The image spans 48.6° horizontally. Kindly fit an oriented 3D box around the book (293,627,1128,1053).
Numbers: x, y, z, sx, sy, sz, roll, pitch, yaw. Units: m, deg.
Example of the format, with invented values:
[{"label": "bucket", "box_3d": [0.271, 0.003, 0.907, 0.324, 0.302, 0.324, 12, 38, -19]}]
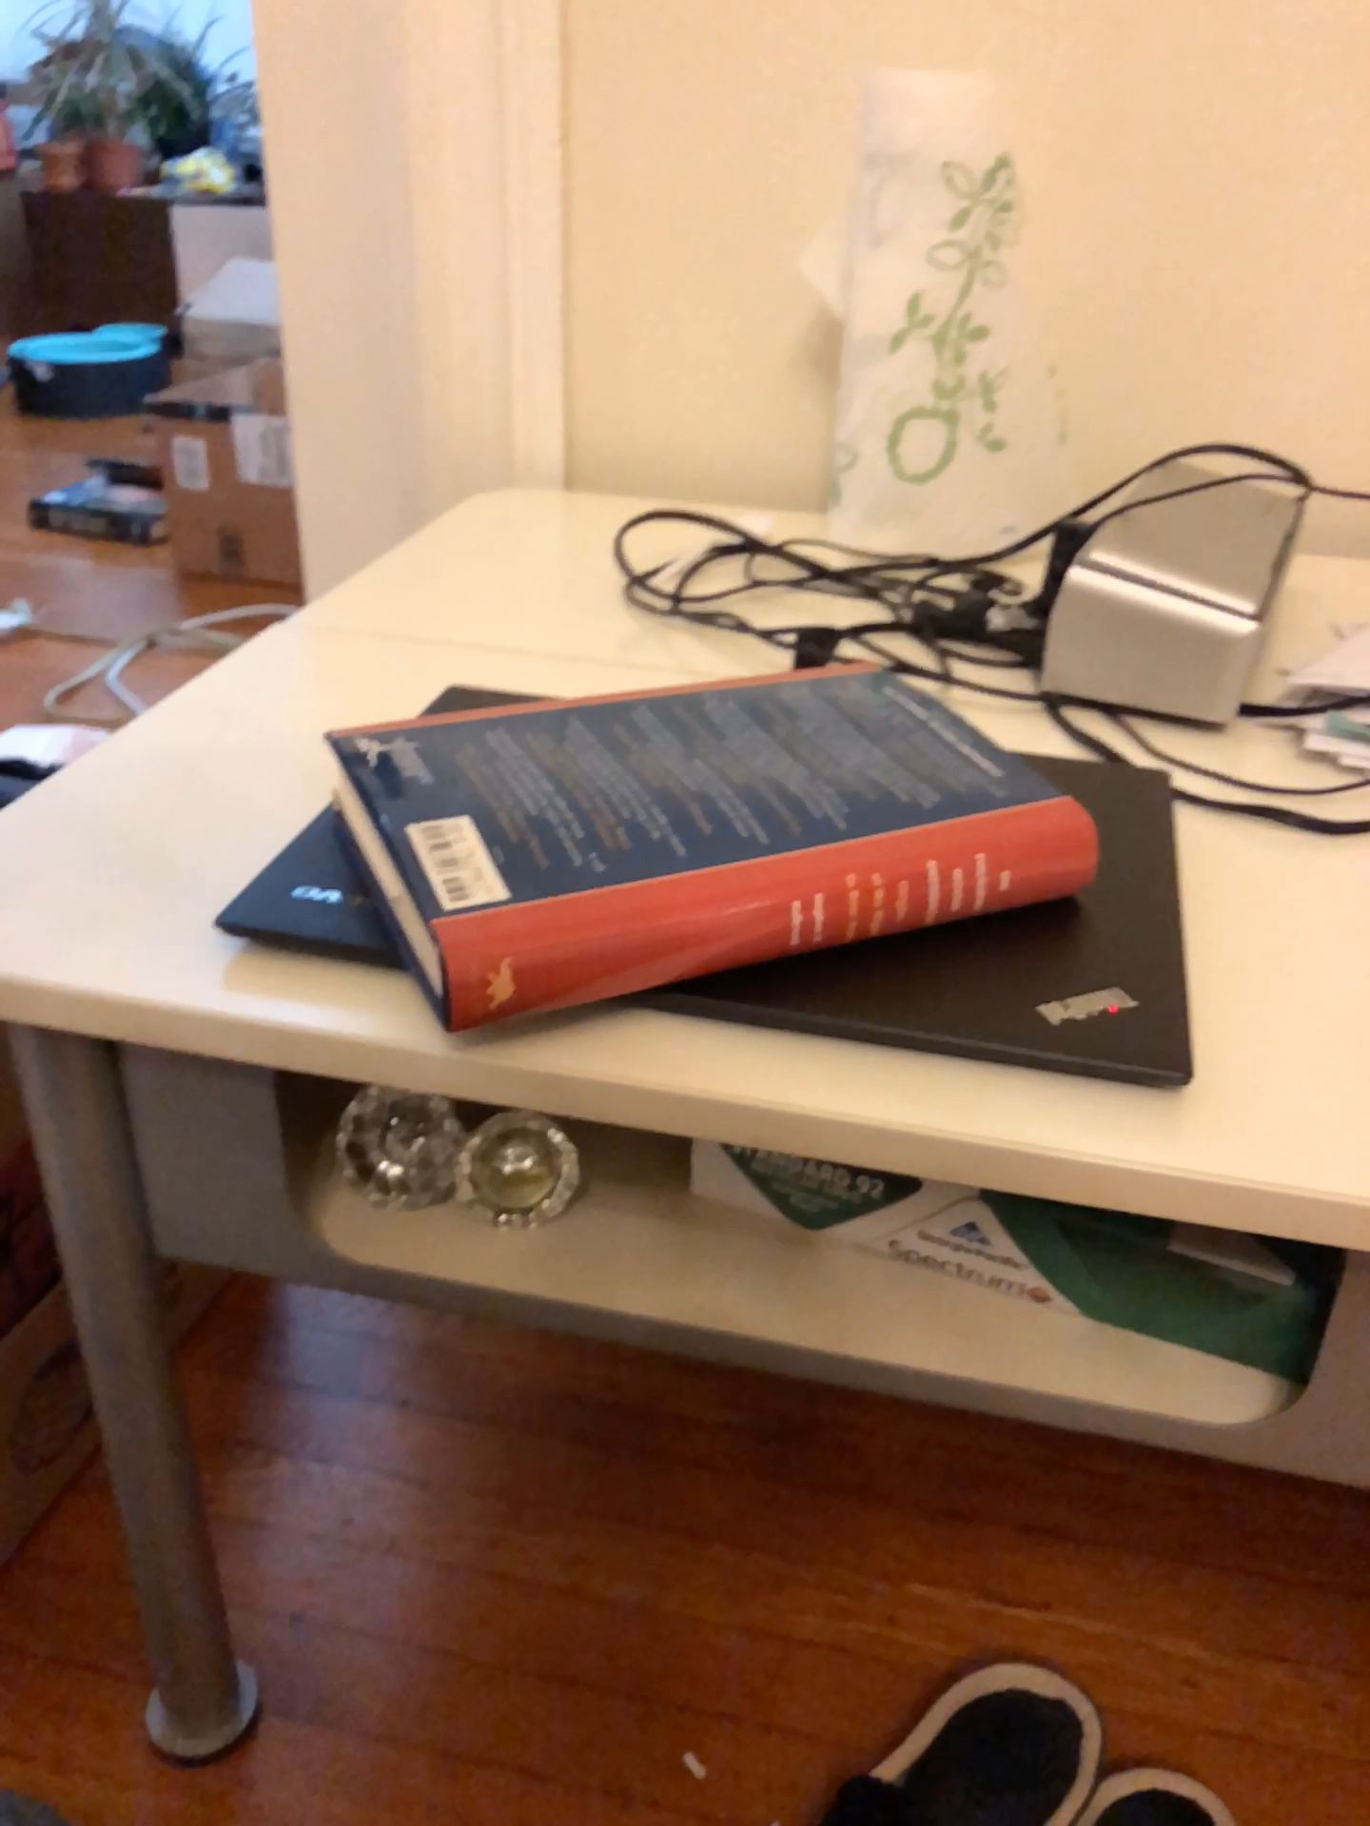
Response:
[{"label": "book", "box_3d": [0.001, -0.040, 0.533, 0.240, 0.040, 0.171, -12, 31, -20]}]
